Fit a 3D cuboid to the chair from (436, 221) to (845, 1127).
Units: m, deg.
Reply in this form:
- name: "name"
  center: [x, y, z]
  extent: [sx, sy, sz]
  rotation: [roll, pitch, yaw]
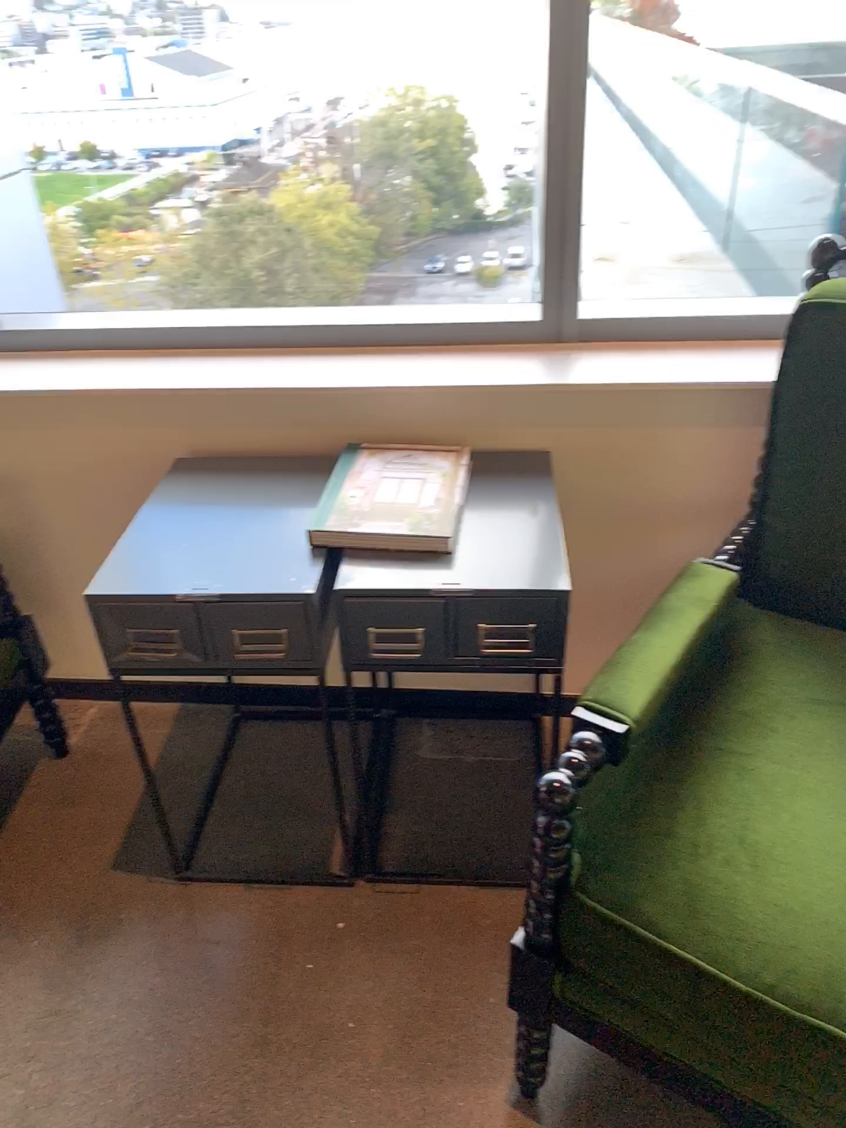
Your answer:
- name: "chair"
  center: [0.652, 0.196, 1.063]
  extent: [0.874, 0.924, 0.942]
  rotation: [18, 38, 29]

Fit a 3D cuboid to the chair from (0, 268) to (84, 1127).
- name: "chair"
  center: [-1.188, 0.183, 1.235]
  extent: [0.910, 0.924, 0.845]
  rotation: [-3, 33, 1]
